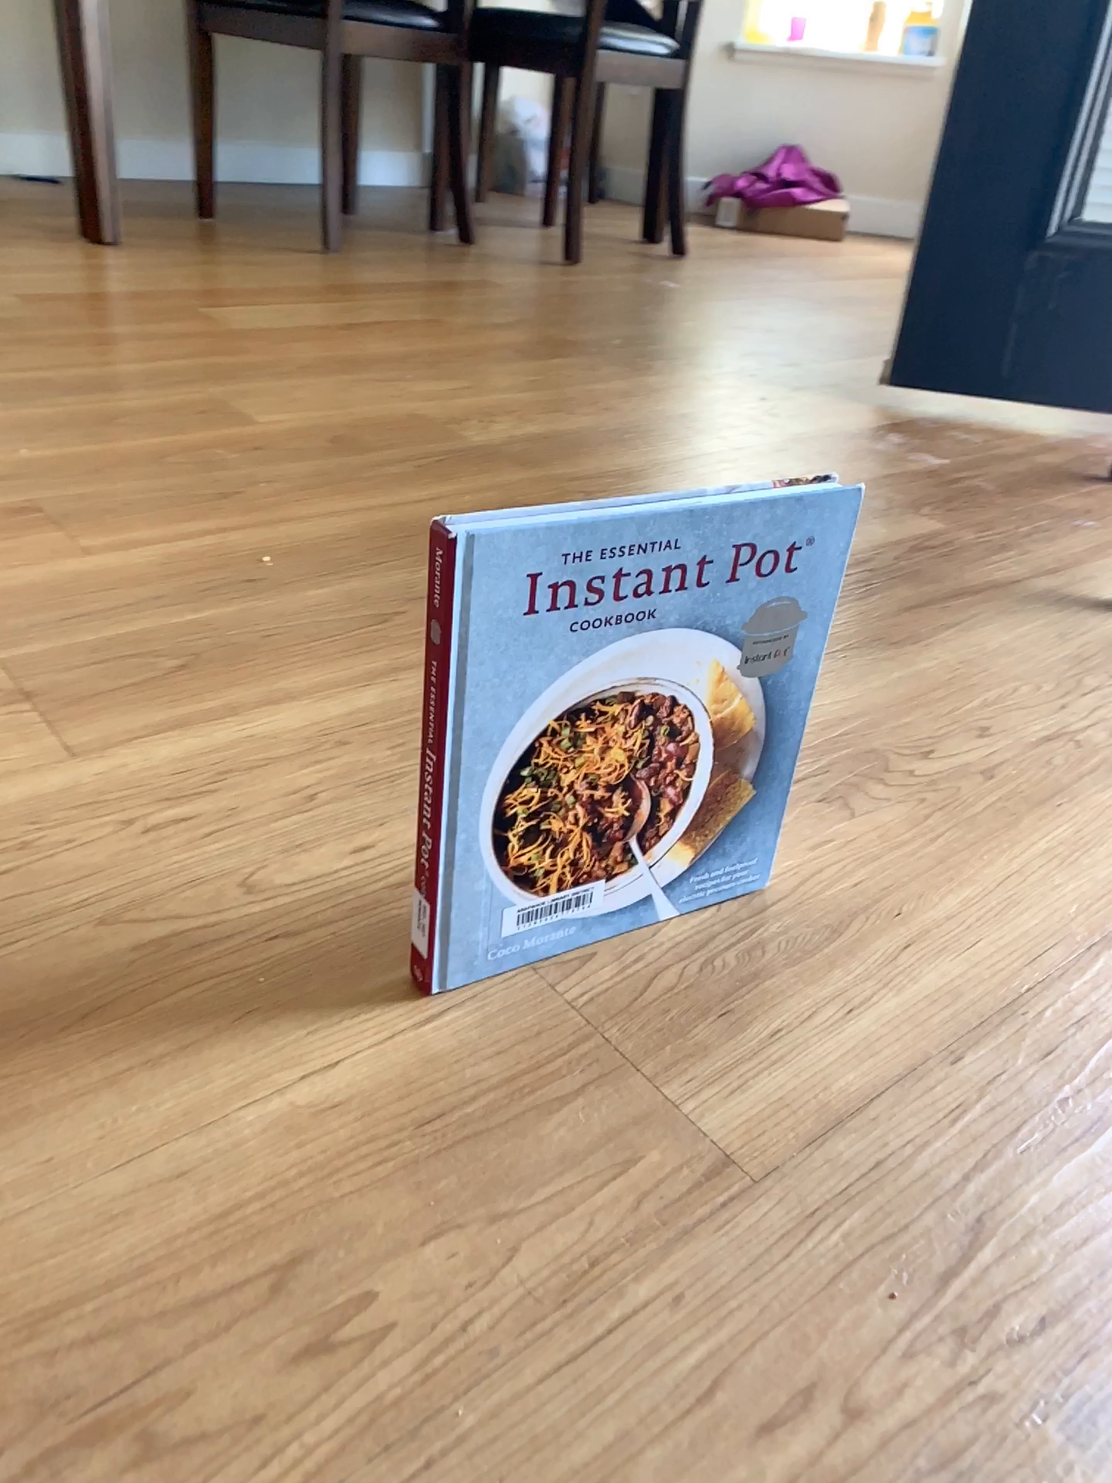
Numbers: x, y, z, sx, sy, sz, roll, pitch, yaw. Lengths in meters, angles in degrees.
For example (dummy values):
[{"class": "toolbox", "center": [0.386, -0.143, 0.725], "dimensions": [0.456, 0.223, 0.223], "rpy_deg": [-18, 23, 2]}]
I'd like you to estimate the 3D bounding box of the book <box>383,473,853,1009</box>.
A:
[{"class": "book", "center": [0.028, -0.002, 0.565], "dimensions": [0.230, 0.239, 0.030], "rpy_deg": [-12, 33, -29]}]
